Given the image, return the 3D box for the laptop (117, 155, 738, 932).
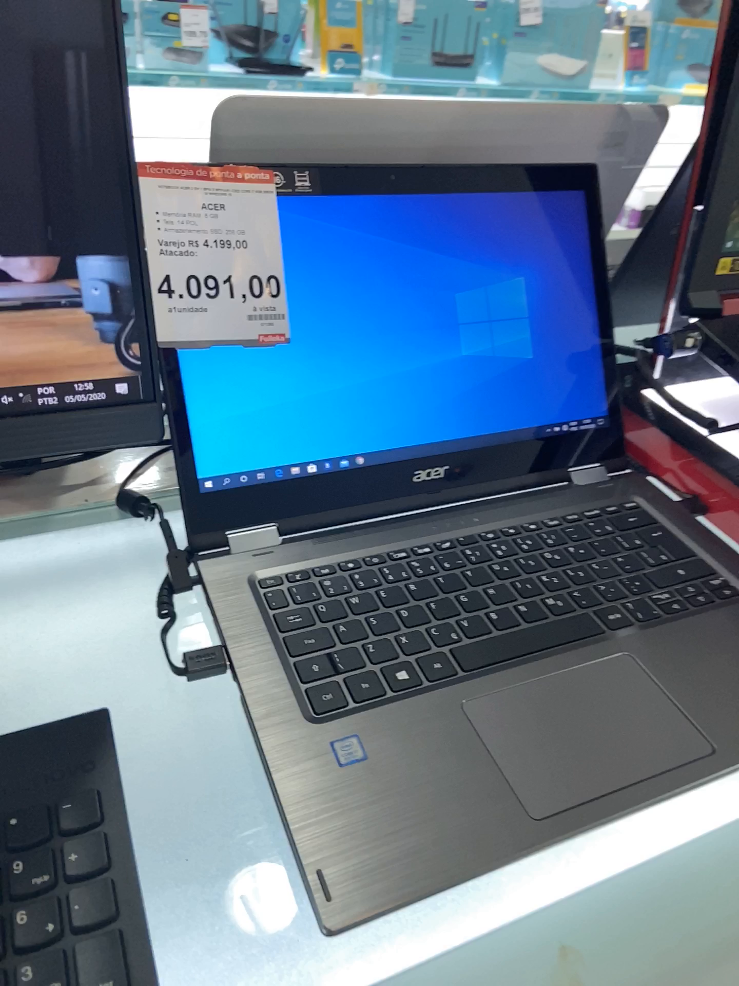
[{"bbox_3d":[0.070,-0.043,0.416,0.328,0.187,0.357,-10,38,-22],"label":"laptop"}]
